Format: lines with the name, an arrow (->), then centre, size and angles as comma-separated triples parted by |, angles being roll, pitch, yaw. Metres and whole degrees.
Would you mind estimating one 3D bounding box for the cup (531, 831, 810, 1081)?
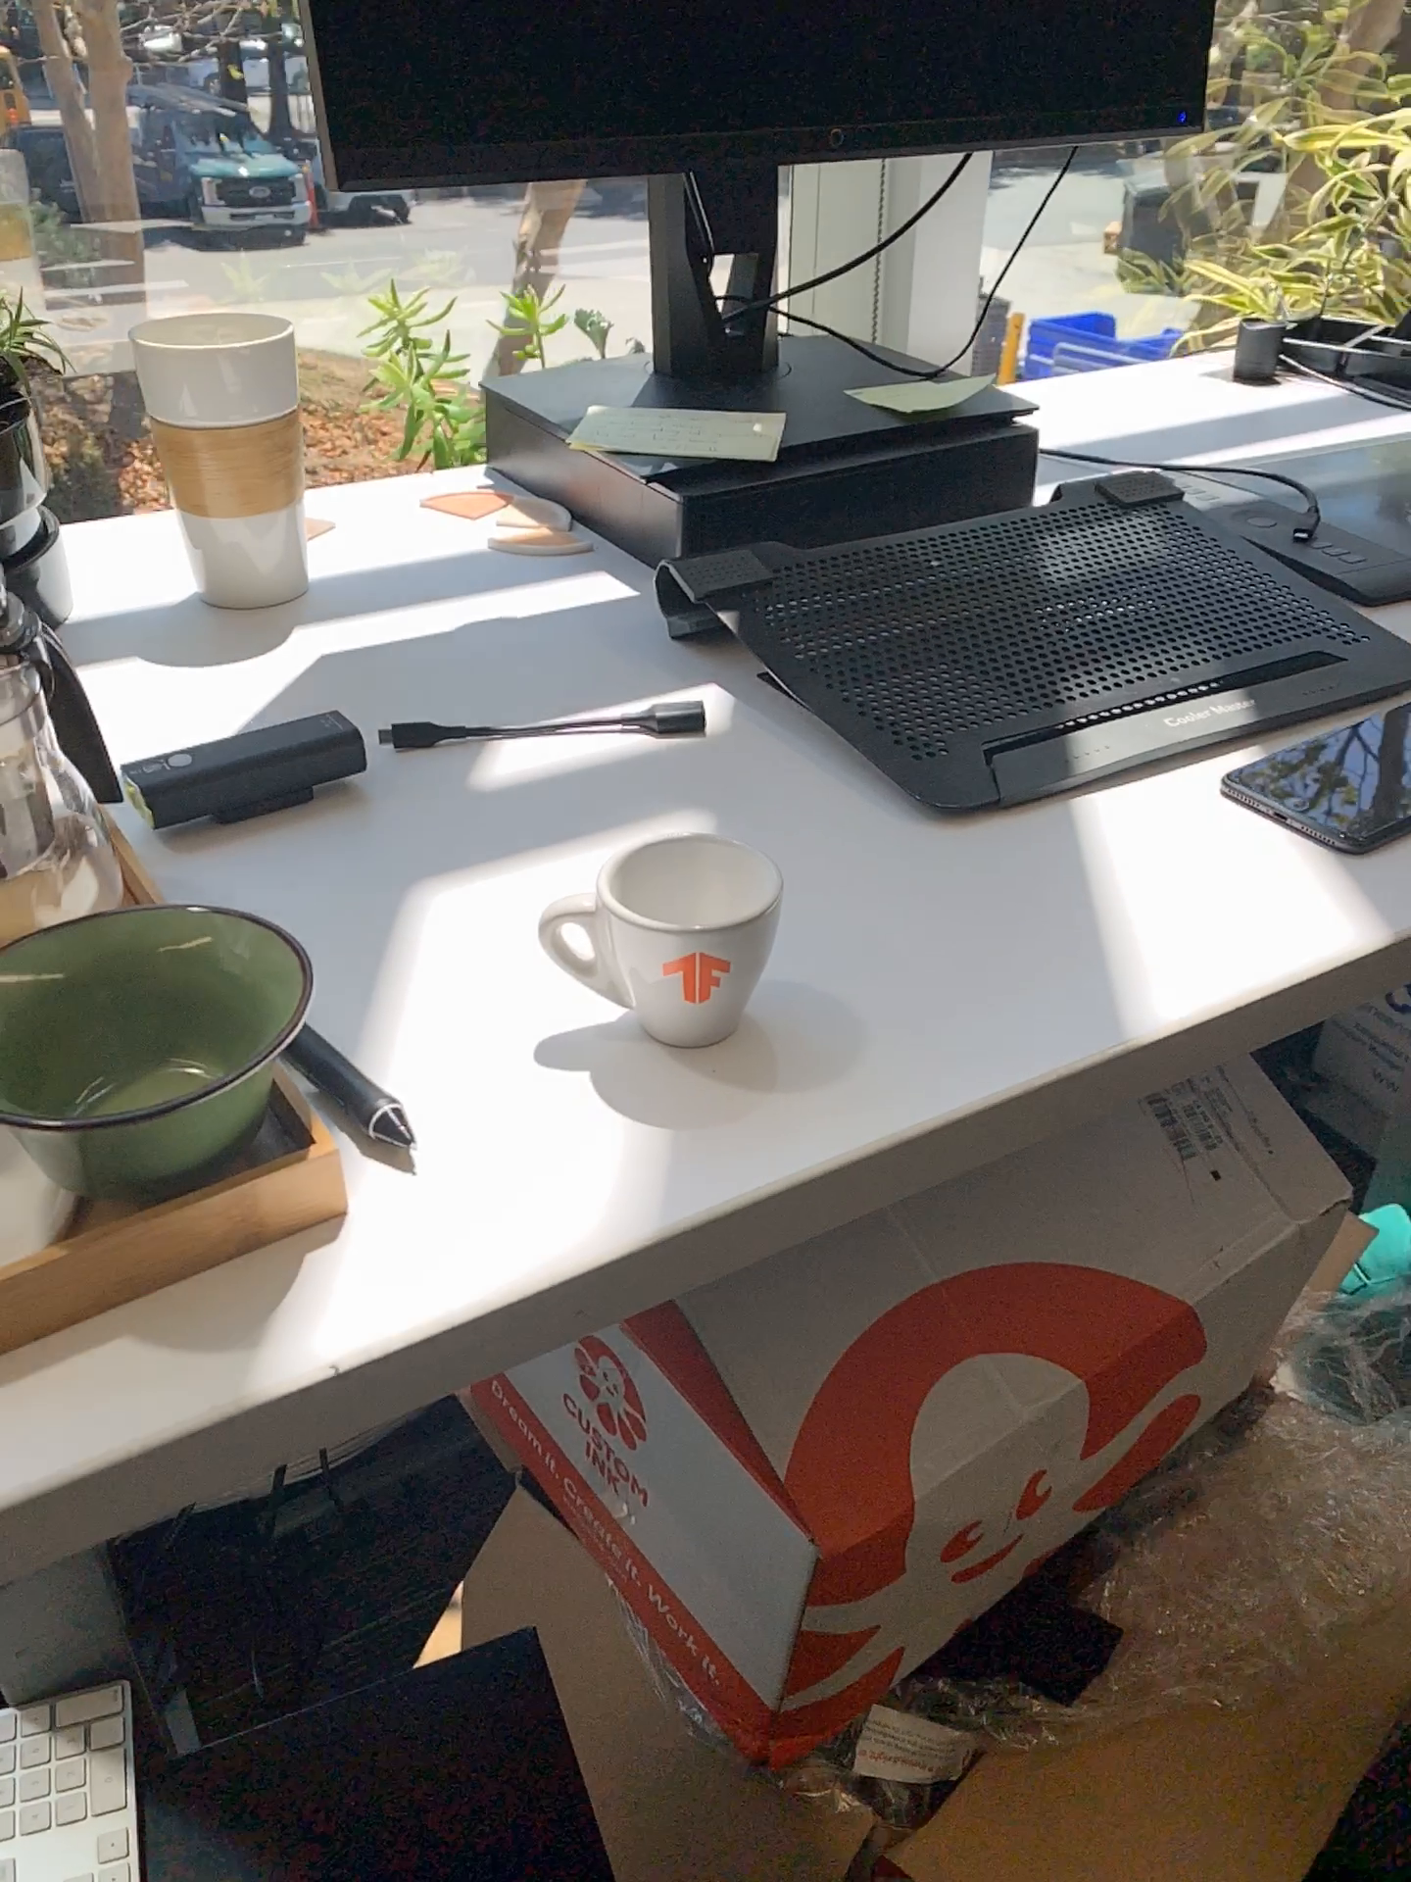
cup -> -0.014, 0.004, 0.507 | 0.090, 0.060, 0.060 | -2, 34, -4
